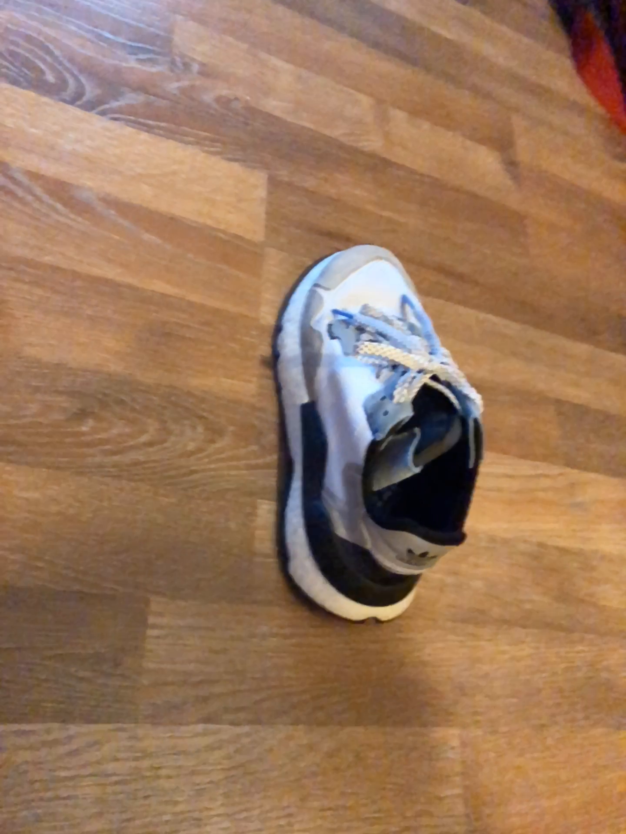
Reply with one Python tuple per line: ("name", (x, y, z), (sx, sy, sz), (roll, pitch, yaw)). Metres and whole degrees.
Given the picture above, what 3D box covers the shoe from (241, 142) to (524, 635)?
("shoe", (0.034, -0.013, 0.435), (0.113, 0.109, 0.271), (11, 64, -24))
